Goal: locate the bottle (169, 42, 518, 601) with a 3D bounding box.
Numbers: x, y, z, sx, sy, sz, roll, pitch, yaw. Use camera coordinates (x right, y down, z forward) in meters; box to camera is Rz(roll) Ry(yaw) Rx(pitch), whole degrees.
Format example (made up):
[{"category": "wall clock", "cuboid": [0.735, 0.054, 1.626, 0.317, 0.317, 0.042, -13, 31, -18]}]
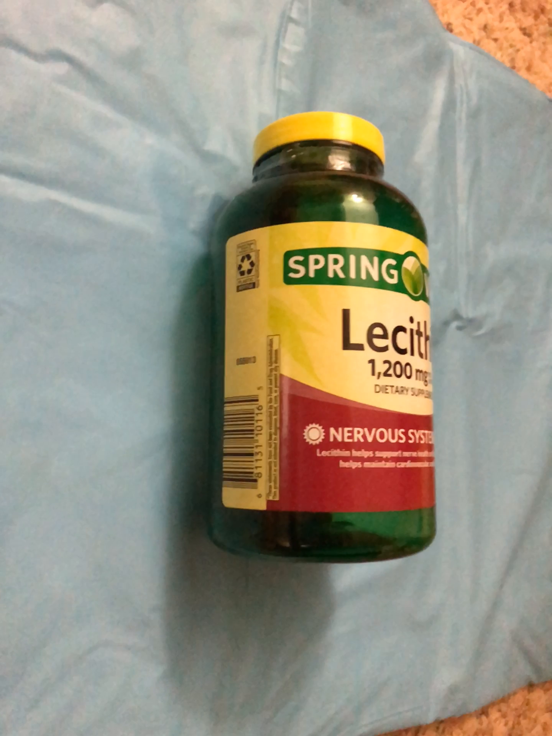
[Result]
[{"category": "bottle", "cuboid": [0.026, -0.010, 0.250, 0.101, 0.090, 0.170, 7, 80, -38]}]
